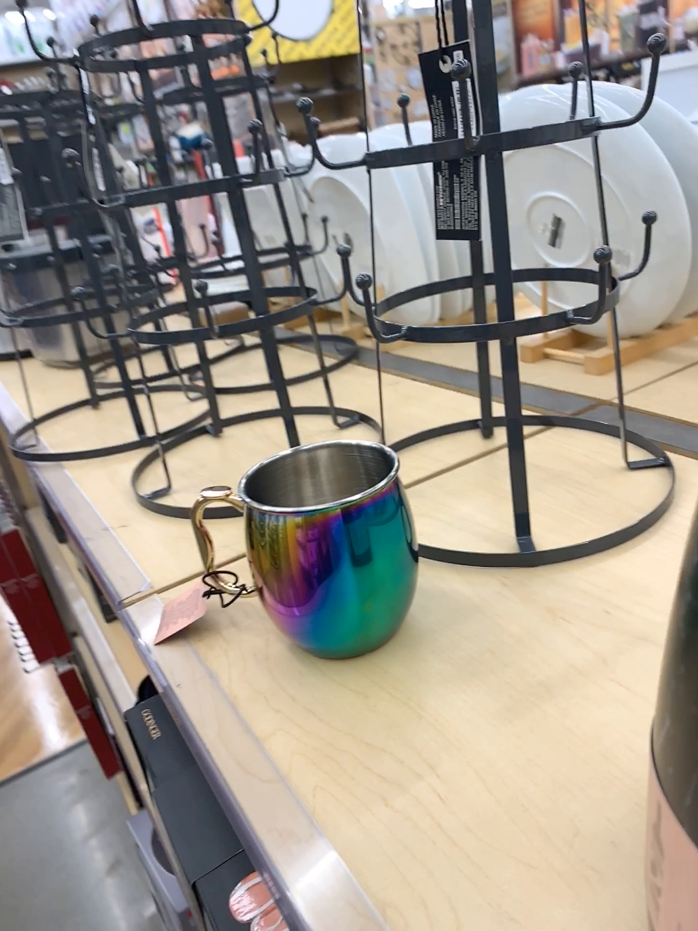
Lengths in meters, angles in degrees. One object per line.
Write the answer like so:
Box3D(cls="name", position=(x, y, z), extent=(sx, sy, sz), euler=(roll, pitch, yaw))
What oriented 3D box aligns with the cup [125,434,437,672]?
Box3D(cls="cup", position=(-0.030, 0.043, 0.391), extent=(0.131, 0.089, 0.085), euler=(-1, 25, 21))
